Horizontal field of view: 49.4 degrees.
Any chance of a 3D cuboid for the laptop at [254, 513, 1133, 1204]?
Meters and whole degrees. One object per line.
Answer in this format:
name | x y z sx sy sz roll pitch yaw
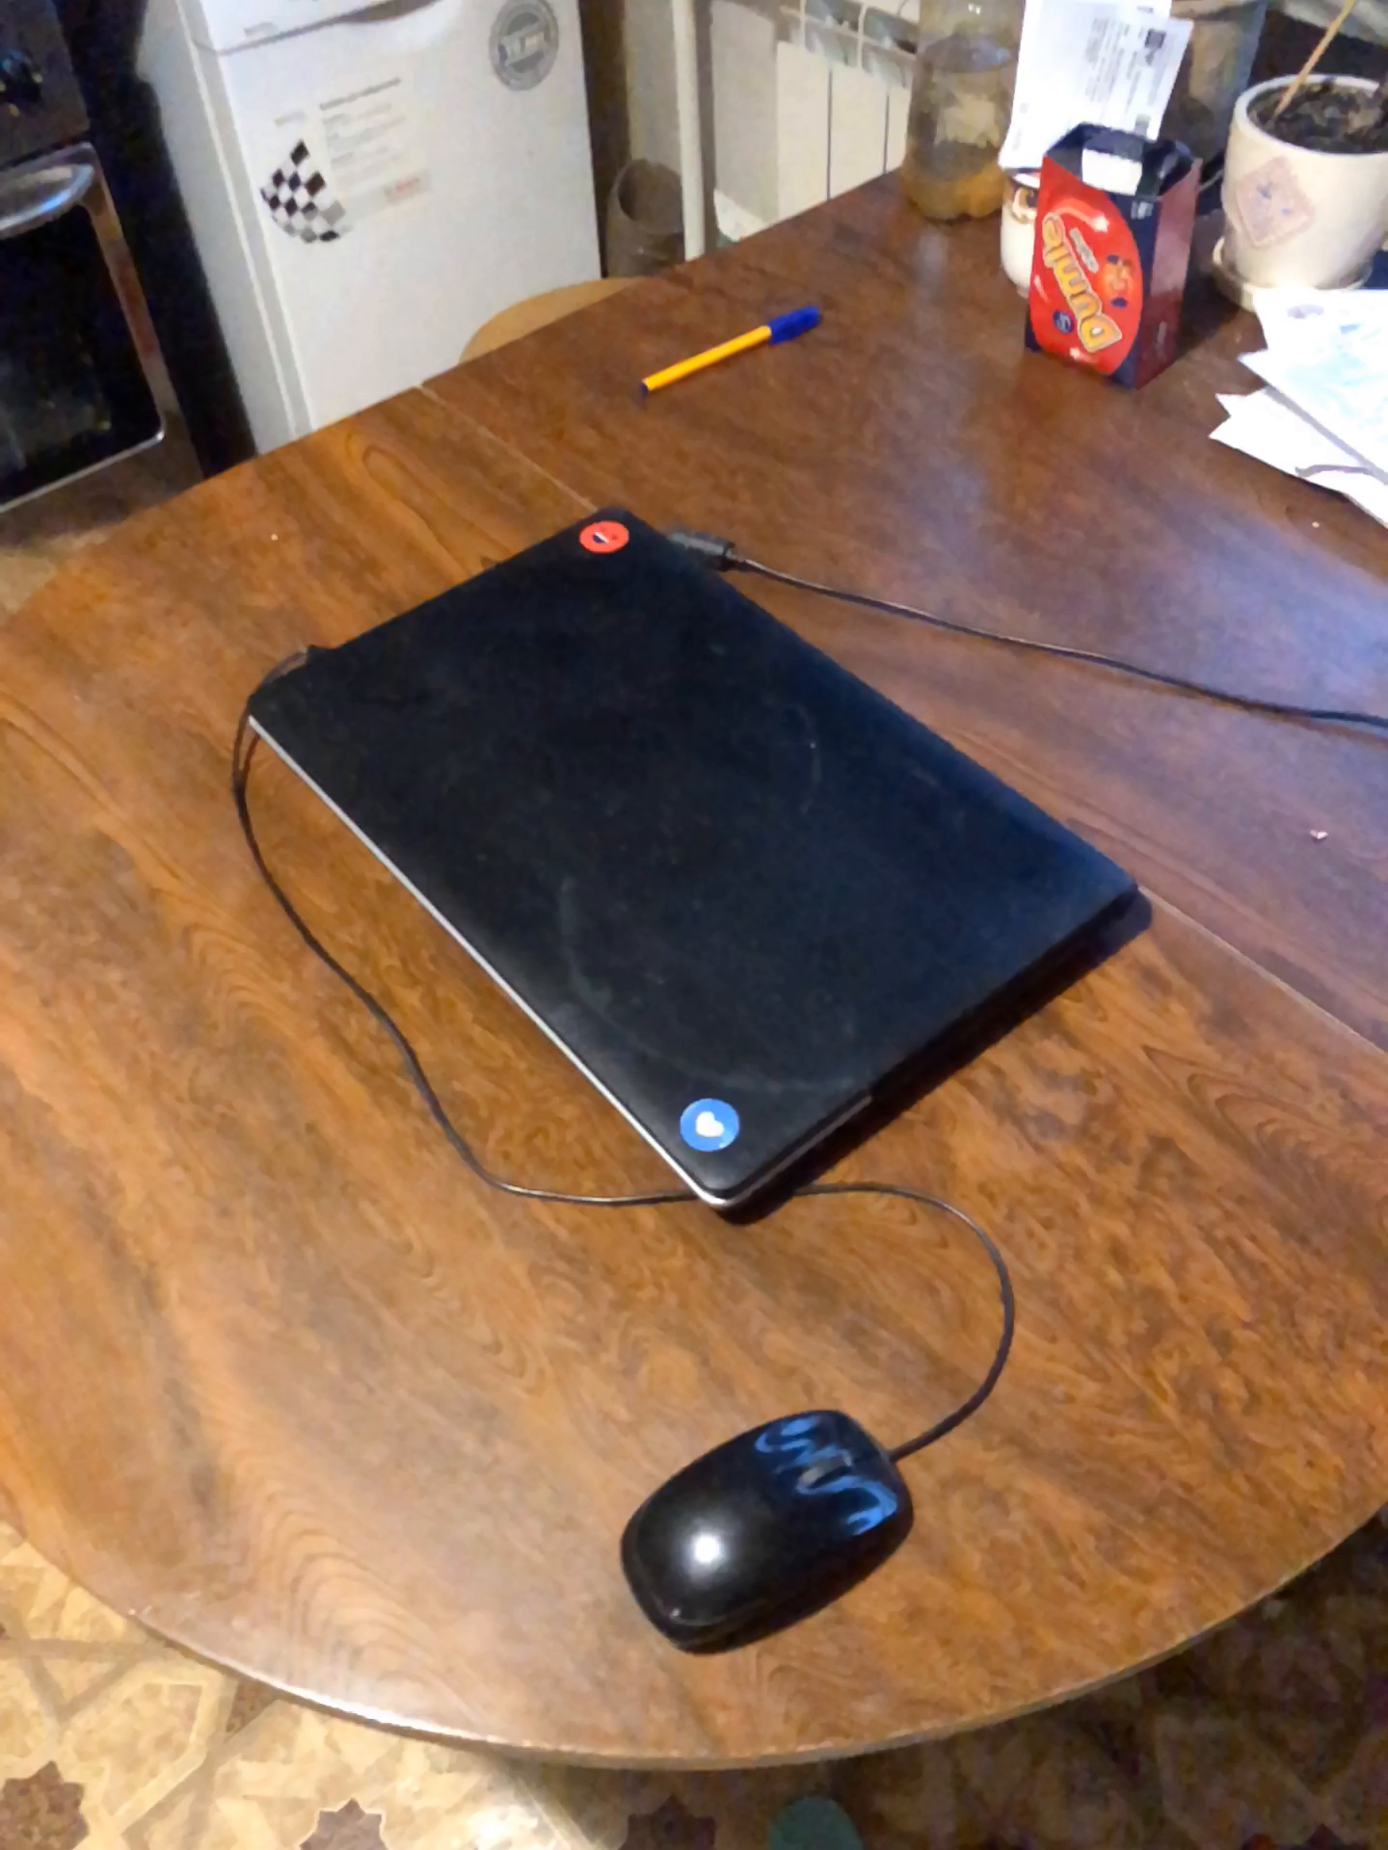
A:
laptop | -0.014 -0.062 0.724 0.239 0.007 0.367 -34 58 -21
